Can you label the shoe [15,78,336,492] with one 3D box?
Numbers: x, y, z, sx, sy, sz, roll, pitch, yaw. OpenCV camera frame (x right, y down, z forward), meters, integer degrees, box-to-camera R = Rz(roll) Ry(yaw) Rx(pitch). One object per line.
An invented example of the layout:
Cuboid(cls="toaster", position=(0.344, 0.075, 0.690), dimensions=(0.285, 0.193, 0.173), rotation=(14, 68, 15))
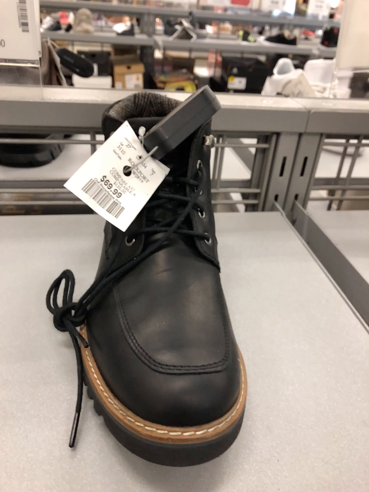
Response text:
Cuboid(cls="shoe", position=(-0.032, -0.011, 0.302), dimensions=(0.120, 0.139, 0.282), rotation=(-2, 36, -12))
